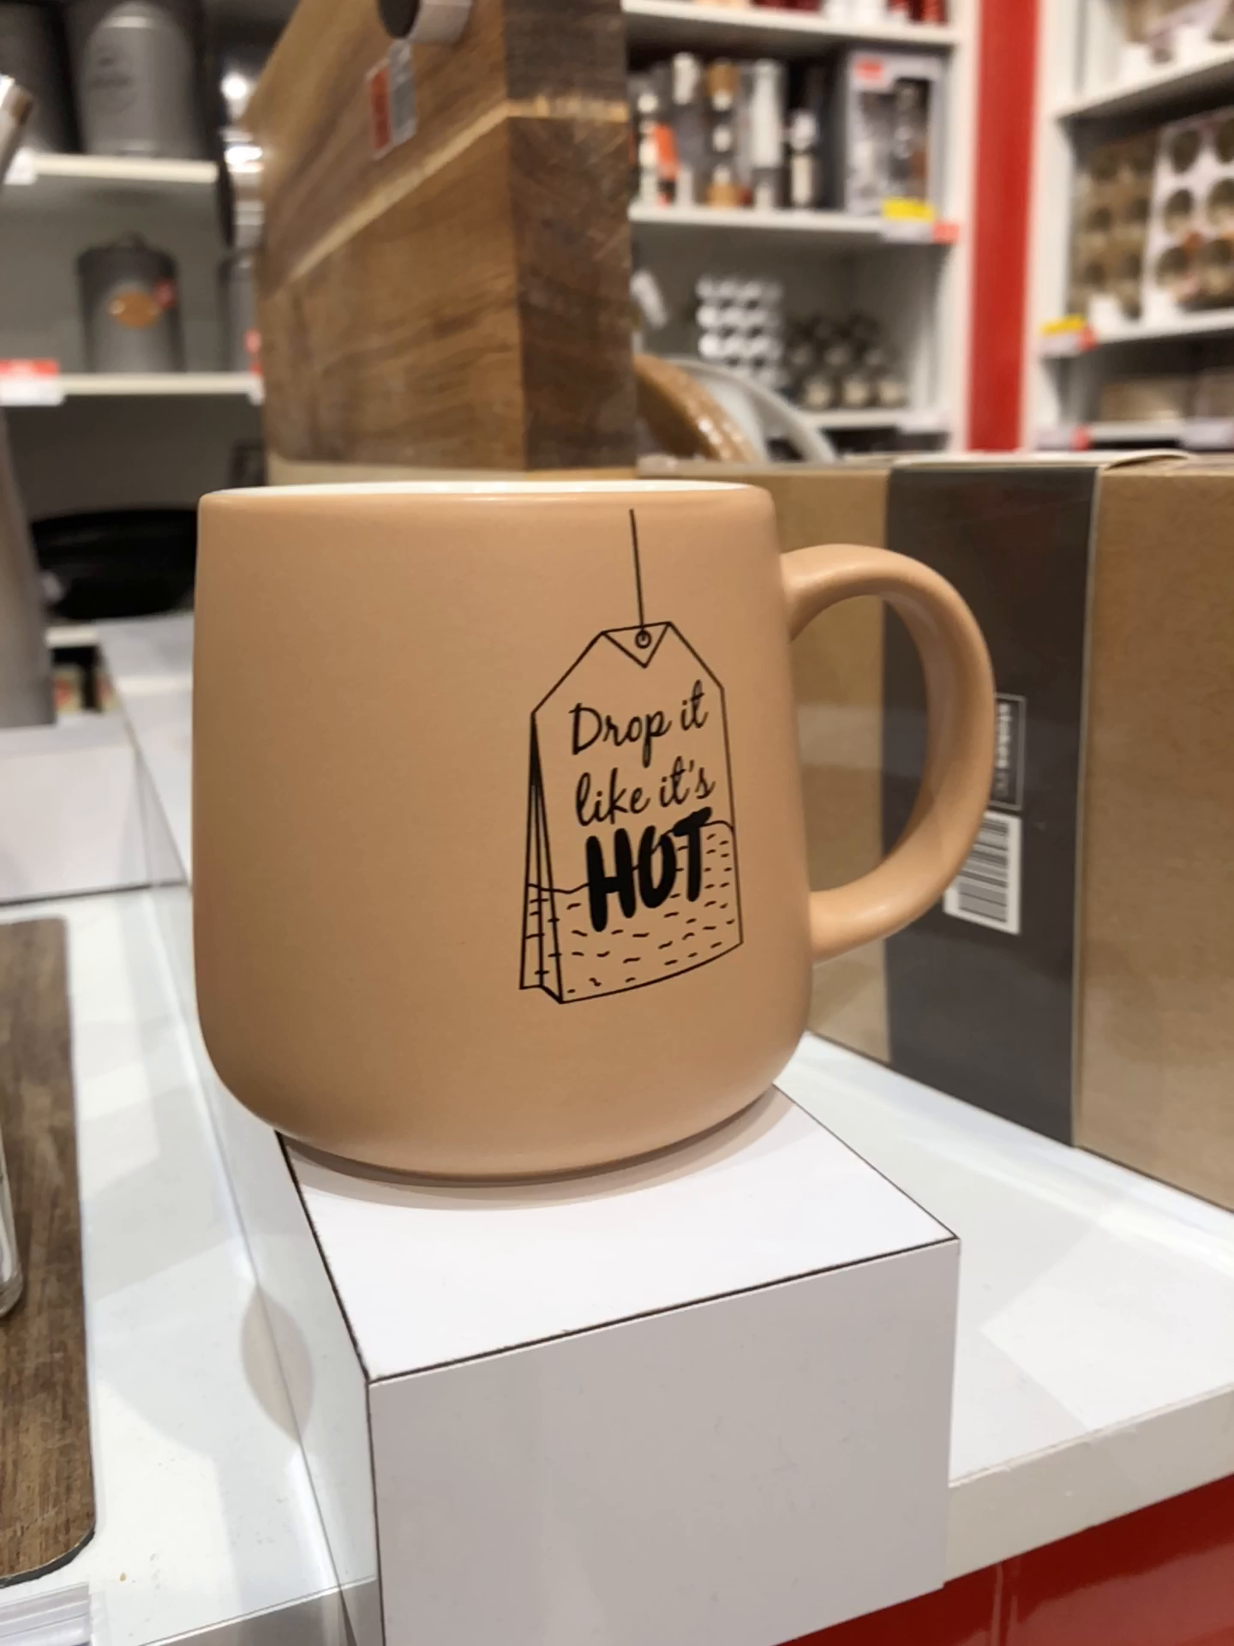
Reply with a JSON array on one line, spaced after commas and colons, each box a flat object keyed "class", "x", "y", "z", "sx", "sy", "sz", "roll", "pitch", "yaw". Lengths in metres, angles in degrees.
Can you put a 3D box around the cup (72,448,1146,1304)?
[{"class": "cup", "x": -0.002, "y": -0.009, "z": 0.194, "sx": 0.110, "sy": 0.080, "sz": 0.090, "roll": -12, "pitch": 18, "yaw": -35}]
